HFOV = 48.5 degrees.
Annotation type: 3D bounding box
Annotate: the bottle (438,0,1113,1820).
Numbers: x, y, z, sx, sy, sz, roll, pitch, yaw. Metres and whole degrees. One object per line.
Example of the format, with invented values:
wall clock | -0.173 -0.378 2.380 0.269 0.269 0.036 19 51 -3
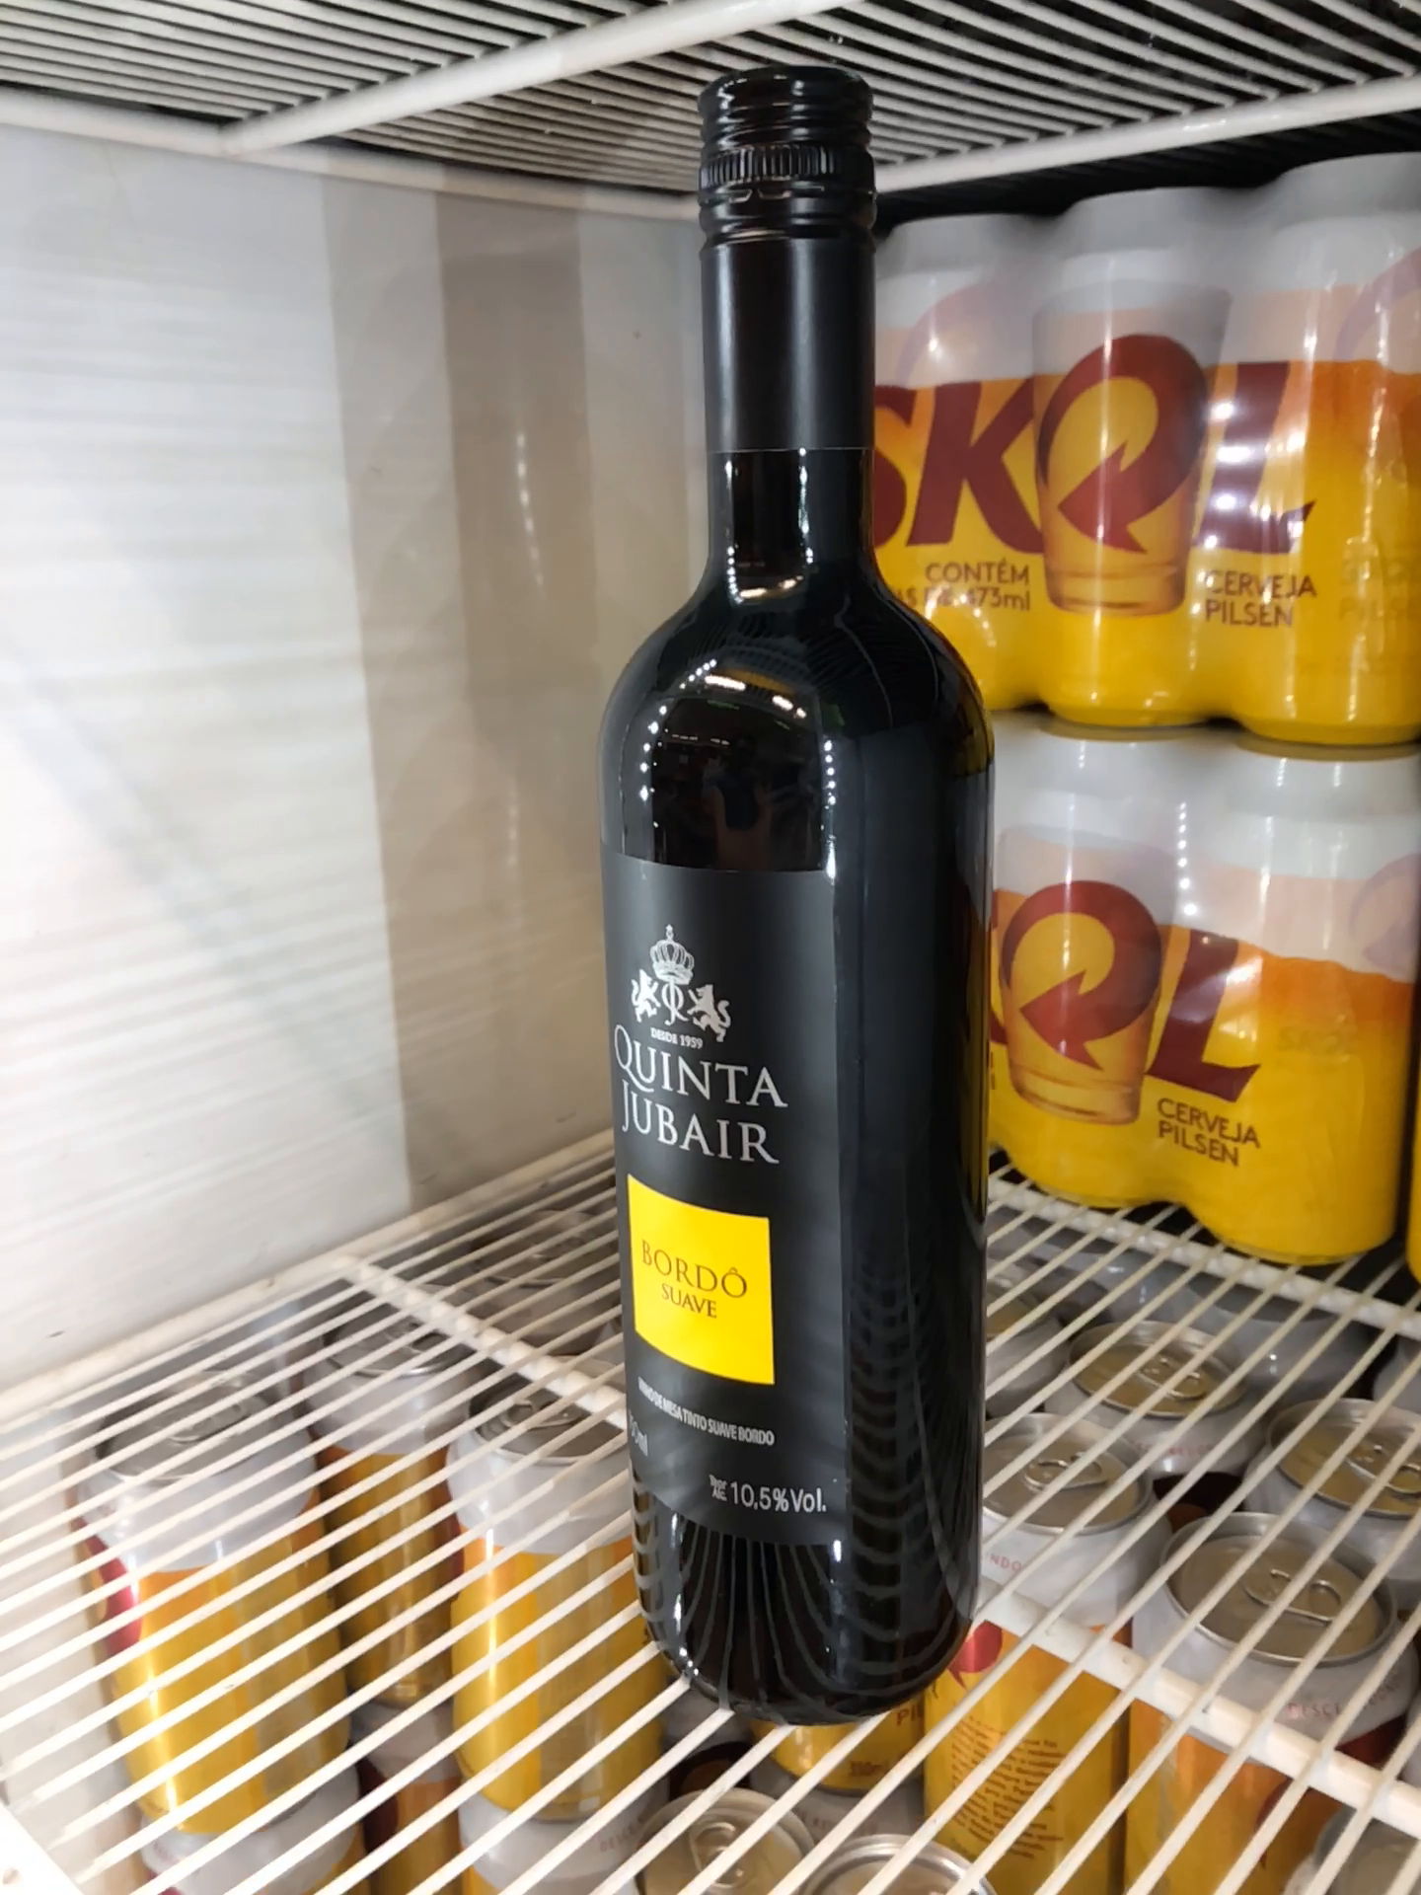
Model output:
bottle | 0.016 -0.003 0.286 0.080 0.288 0.070 11 21 42
